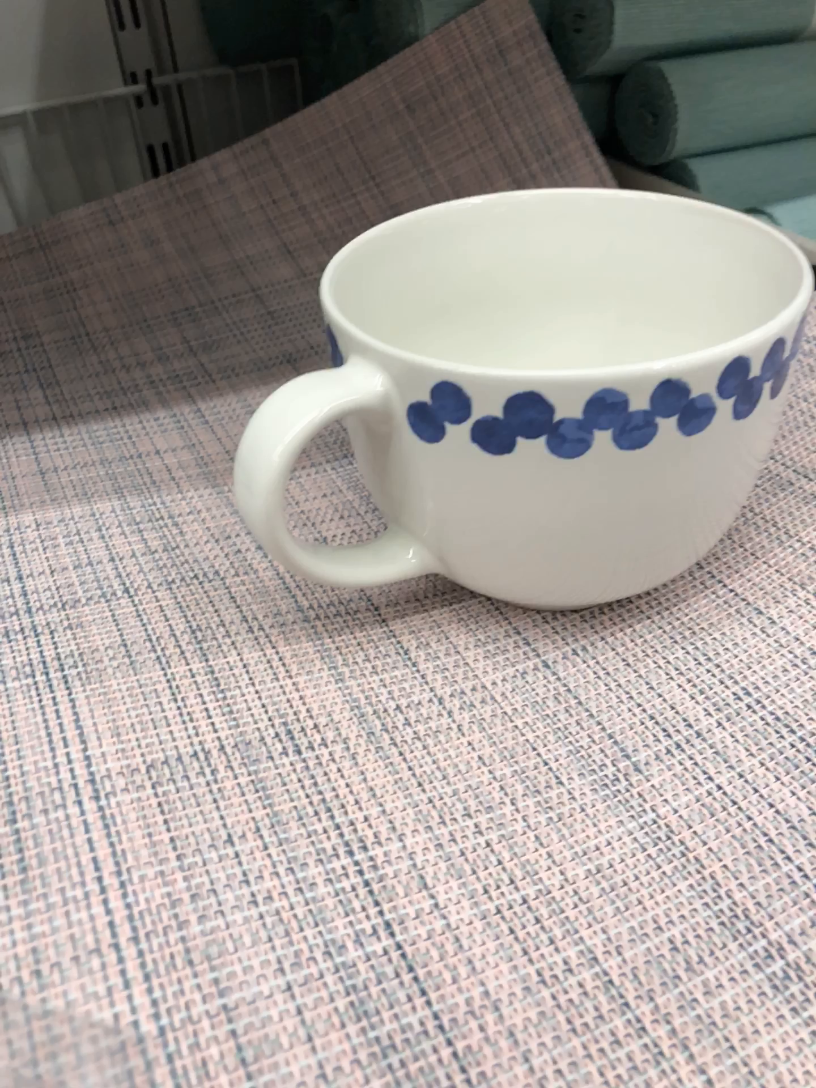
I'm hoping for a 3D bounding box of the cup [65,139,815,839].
[{"bbox_3d":[0.024,-0.031,0.199,0.150,0.060,0.110,-25,41,-23],"label":"cup"}]
